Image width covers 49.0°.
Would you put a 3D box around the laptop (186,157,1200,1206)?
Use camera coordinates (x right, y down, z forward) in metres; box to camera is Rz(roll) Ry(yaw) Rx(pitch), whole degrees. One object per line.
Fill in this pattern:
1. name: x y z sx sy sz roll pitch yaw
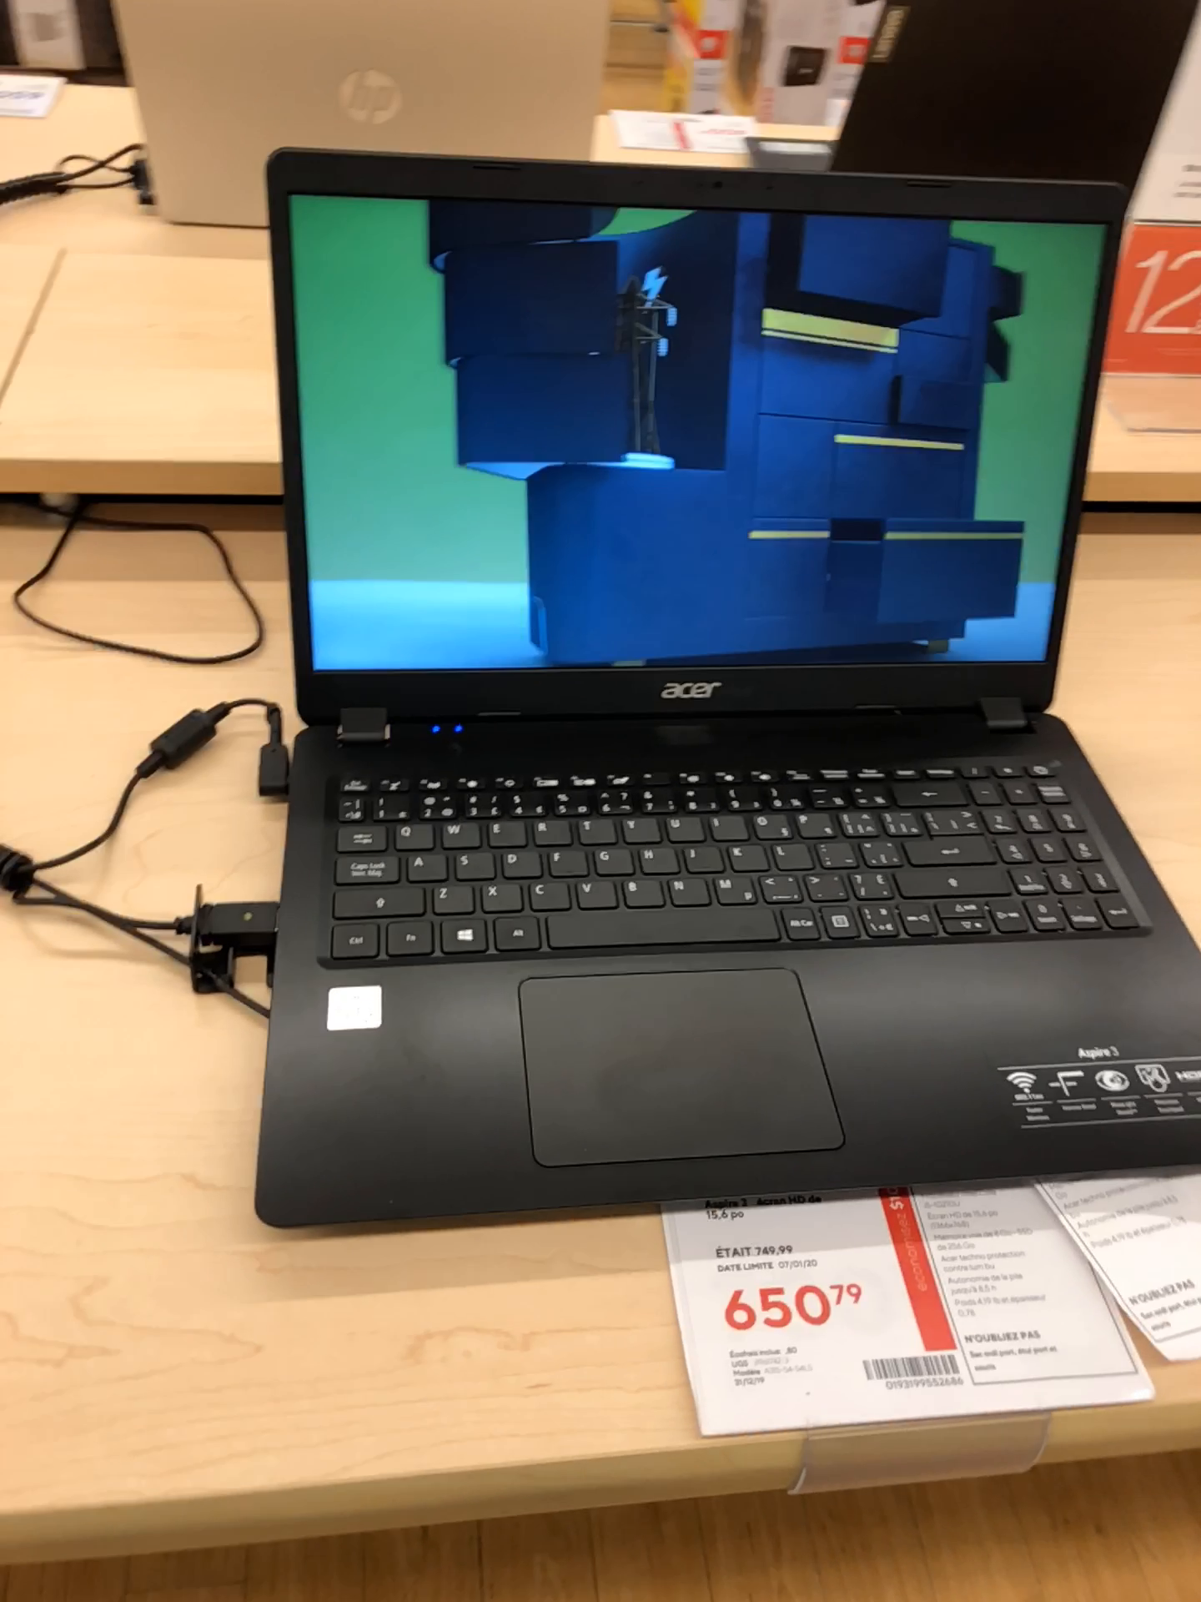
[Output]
1. laptop: 0.062 -0.061 0.482 0.354 0.210 0.329 -1 43 -8
